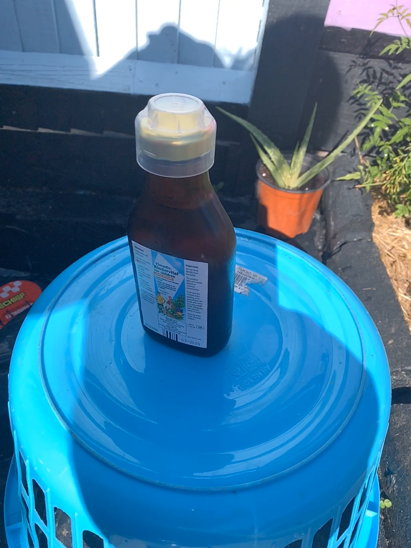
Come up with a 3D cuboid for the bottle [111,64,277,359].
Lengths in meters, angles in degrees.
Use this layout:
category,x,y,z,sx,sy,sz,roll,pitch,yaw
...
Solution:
category,x,y,z,sx,sy,sz,roll,pitch,yaw
bottle,-0.013,-0.029,0.302,0.080,0.198,0.050,16,44,9
